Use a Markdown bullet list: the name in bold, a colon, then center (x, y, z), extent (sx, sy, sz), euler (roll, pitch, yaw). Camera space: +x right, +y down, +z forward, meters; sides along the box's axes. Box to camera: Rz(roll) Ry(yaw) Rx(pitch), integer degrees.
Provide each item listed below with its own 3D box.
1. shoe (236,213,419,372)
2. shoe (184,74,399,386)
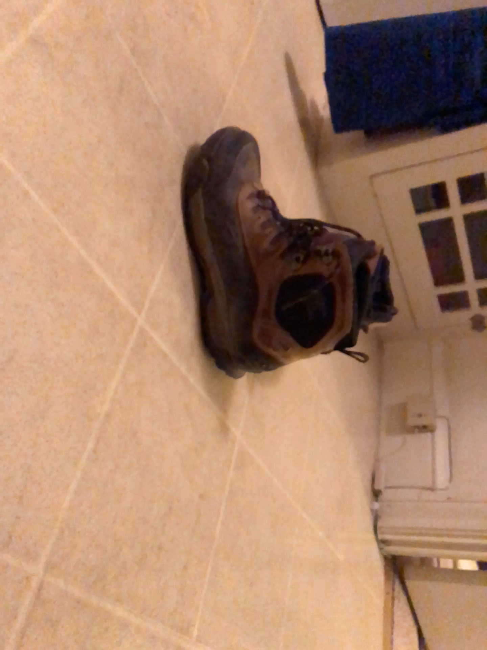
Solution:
- **shoe**: center (0.141, -0.058, 0.795), extent (0.294, 0.185, 0.113), euler (-49, 126, -58)
- **shoe**: center (0.057, -0.091, 0.627), extent (0.122, 0.185, 0.299), euler (4, 80, -65)
